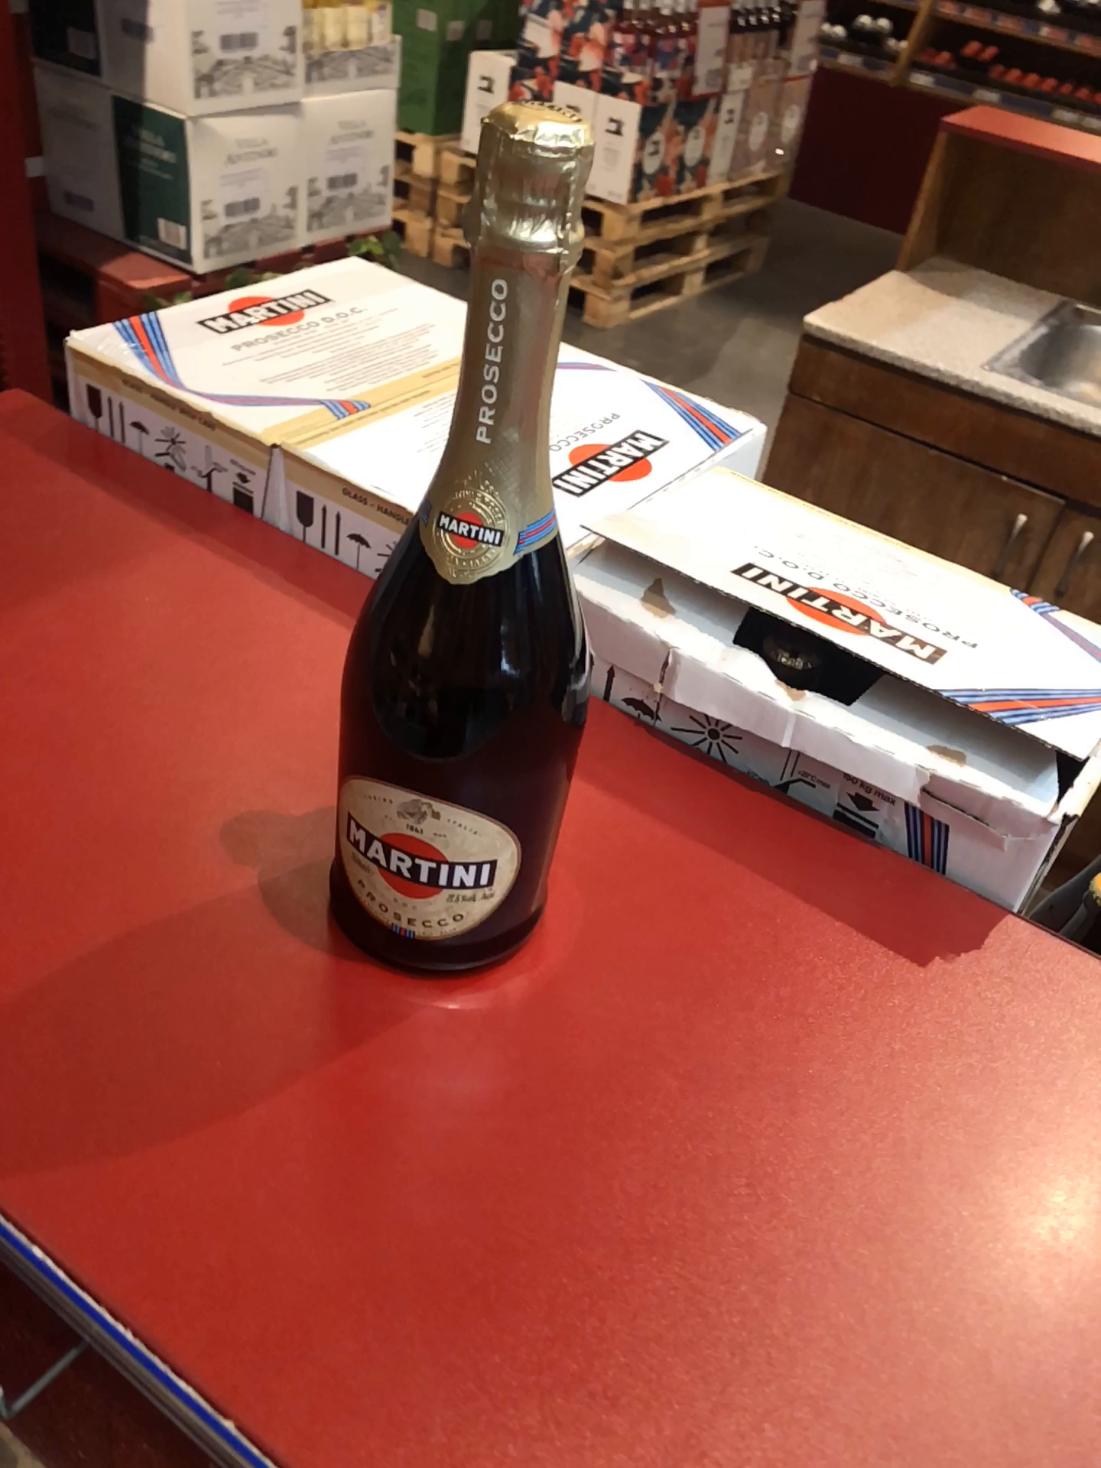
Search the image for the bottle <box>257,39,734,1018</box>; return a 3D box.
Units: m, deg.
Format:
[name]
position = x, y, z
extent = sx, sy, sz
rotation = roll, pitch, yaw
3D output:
[bottle]
position = -0.031, -0.051, 0.411
extent = 0.099, 0.302, 0.090
rotation = 19, 38, 12
